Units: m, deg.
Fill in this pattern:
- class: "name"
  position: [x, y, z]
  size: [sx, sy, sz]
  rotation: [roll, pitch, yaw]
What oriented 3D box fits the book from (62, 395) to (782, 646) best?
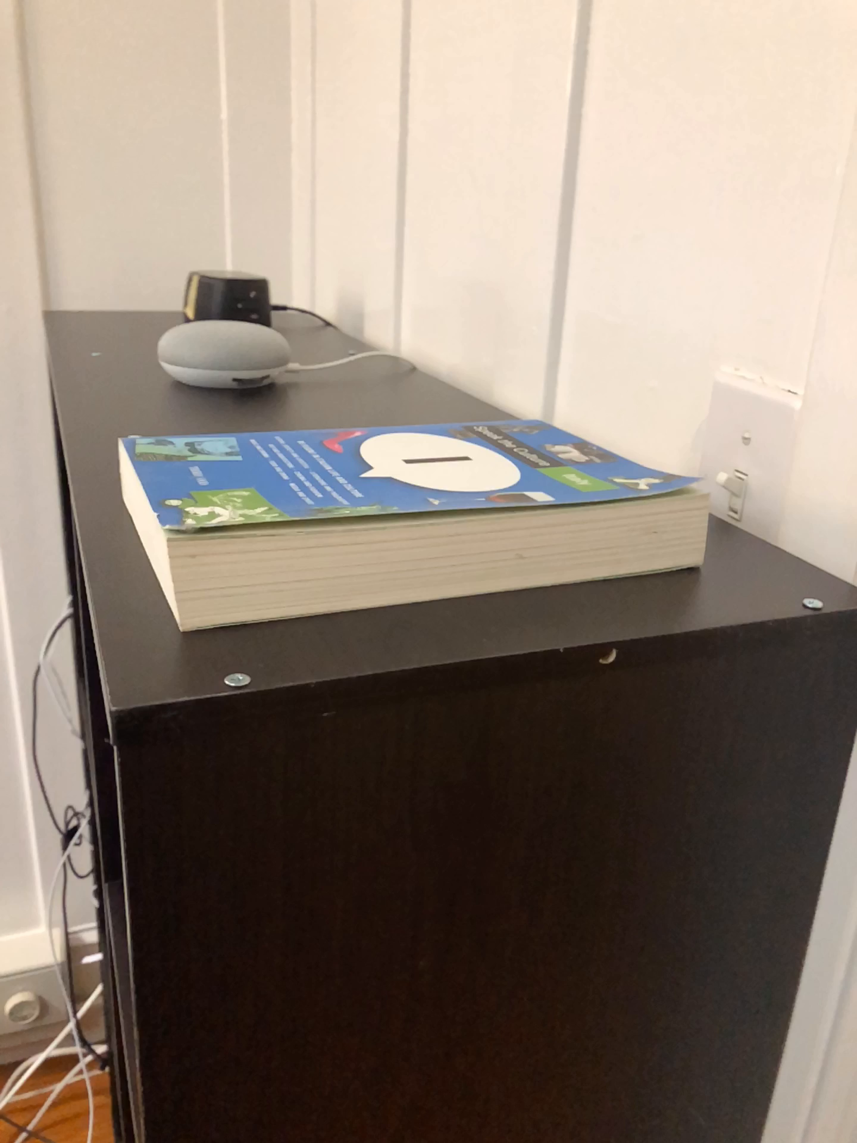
- class: "book"
  position: [-0.017, -0.040, 0.423]
  size: [0.260, 0.030, 0.201]
  rotation: [-7, 23, -23]
